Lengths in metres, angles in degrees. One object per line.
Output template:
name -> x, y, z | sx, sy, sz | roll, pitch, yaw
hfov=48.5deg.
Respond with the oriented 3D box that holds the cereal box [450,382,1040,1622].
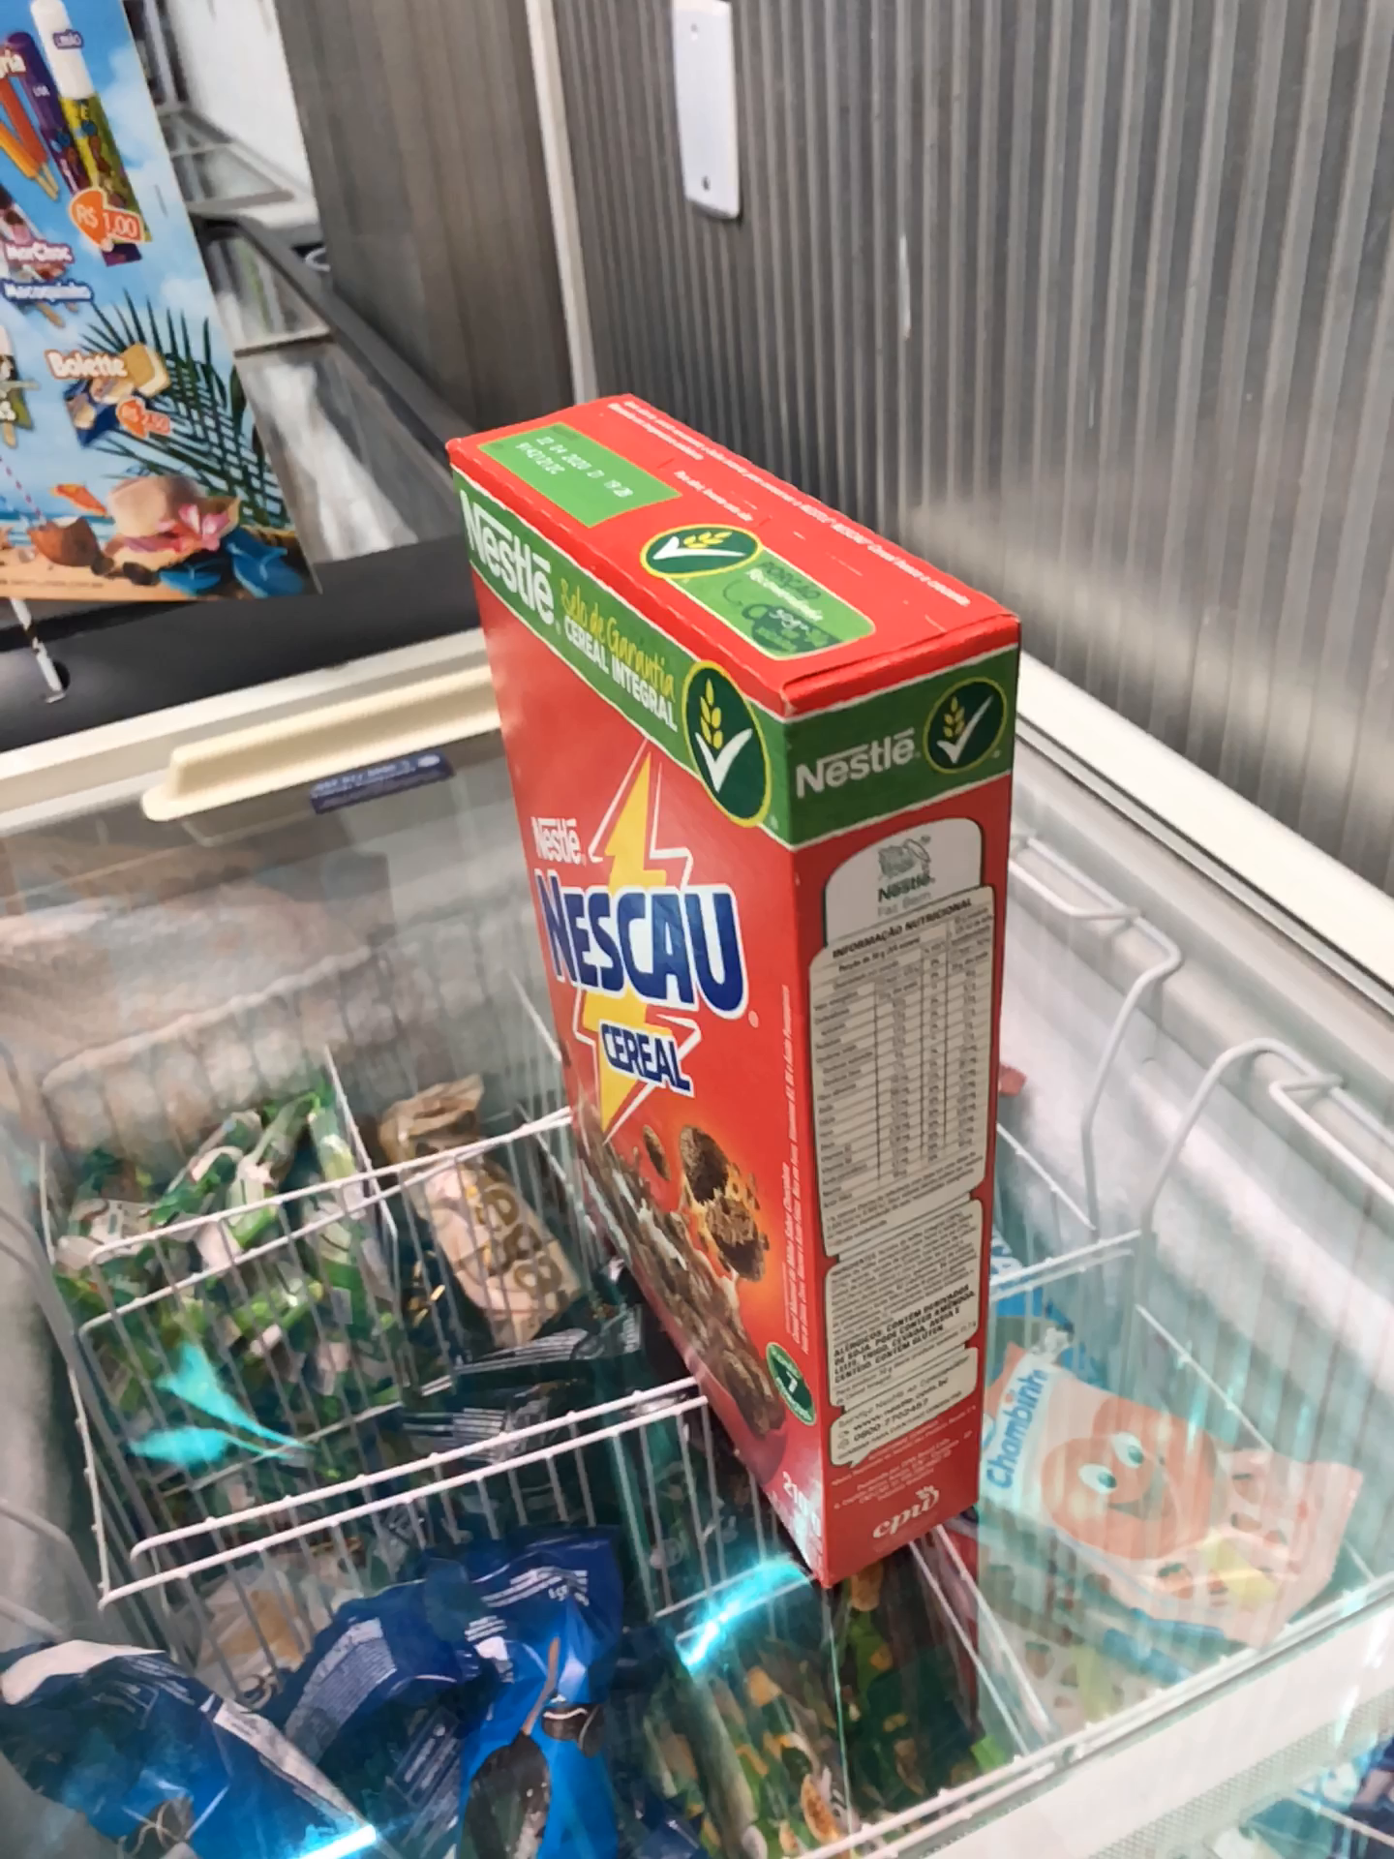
cereal box -> 0.009, 0.019, 0.388 | 0.050, 0.258, 0.171 | -18, 37, -17
